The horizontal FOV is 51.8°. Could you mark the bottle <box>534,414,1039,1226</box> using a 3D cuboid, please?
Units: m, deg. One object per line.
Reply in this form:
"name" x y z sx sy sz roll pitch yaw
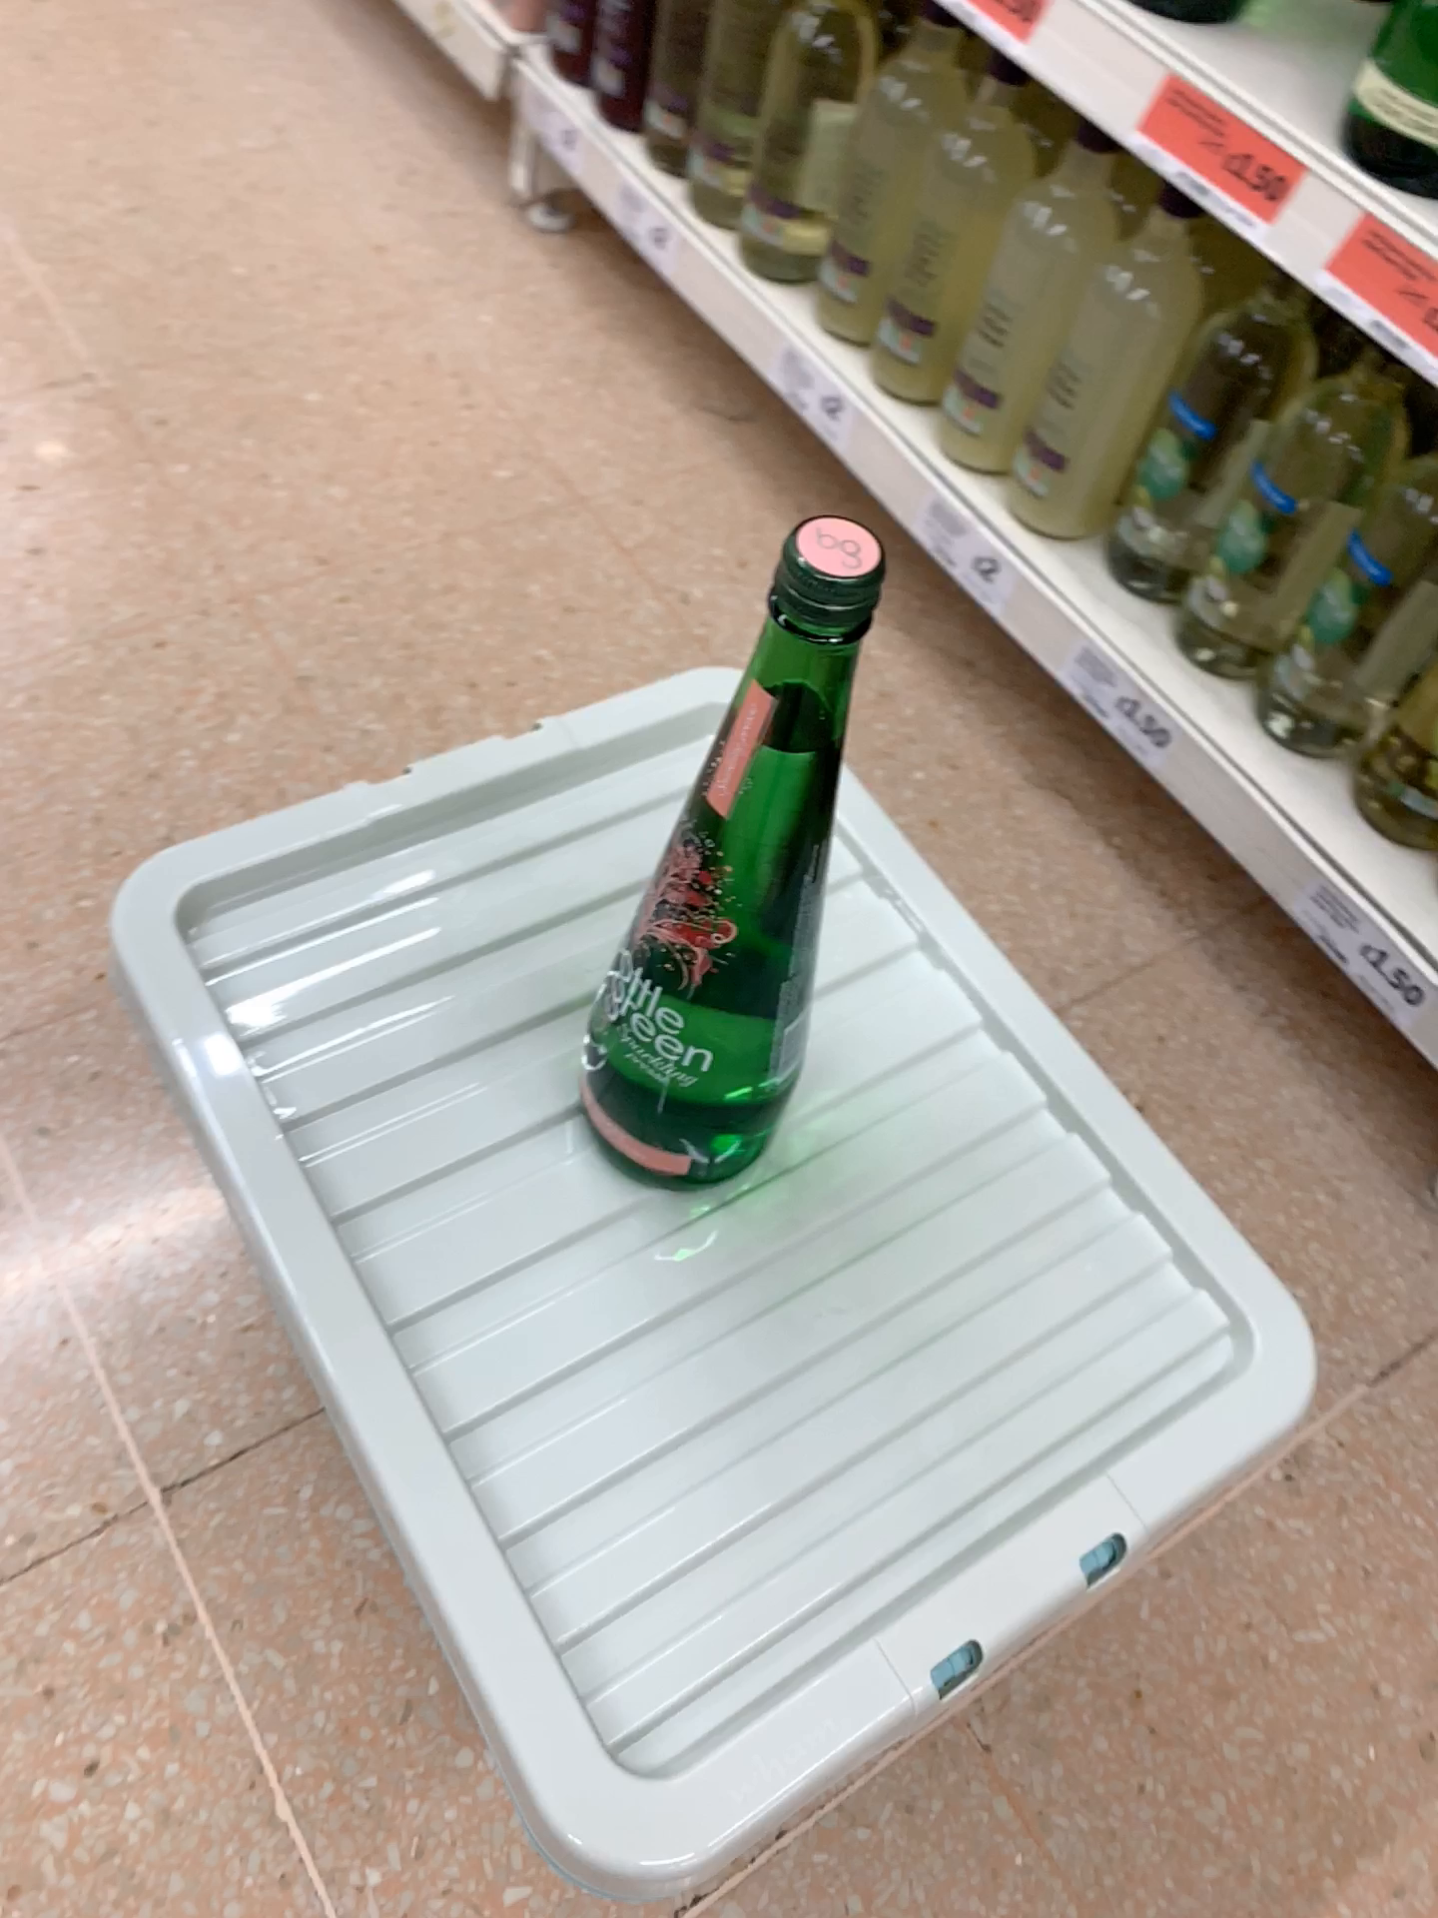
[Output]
"bottle" 0.003 -0.026 0.504 0.085 0.287 0.090 5 54 -7
